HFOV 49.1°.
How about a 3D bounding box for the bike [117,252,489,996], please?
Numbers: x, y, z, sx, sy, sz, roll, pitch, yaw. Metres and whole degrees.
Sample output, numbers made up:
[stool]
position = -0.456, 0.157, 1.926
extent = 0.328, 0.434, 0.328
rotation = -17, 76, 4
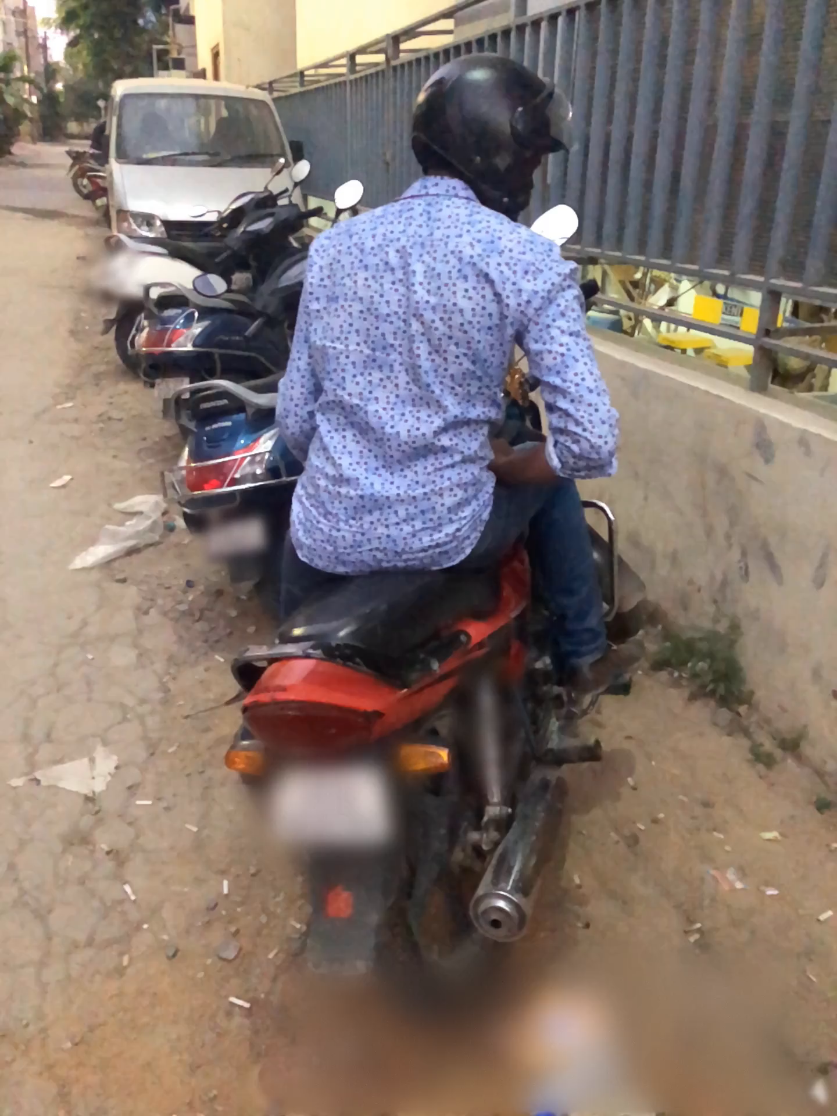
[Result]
[bike]
position = -0.136, -0.095, 2.169
extent = 0.424, 0.830, 1.661
rotation = 5, 29, 8
